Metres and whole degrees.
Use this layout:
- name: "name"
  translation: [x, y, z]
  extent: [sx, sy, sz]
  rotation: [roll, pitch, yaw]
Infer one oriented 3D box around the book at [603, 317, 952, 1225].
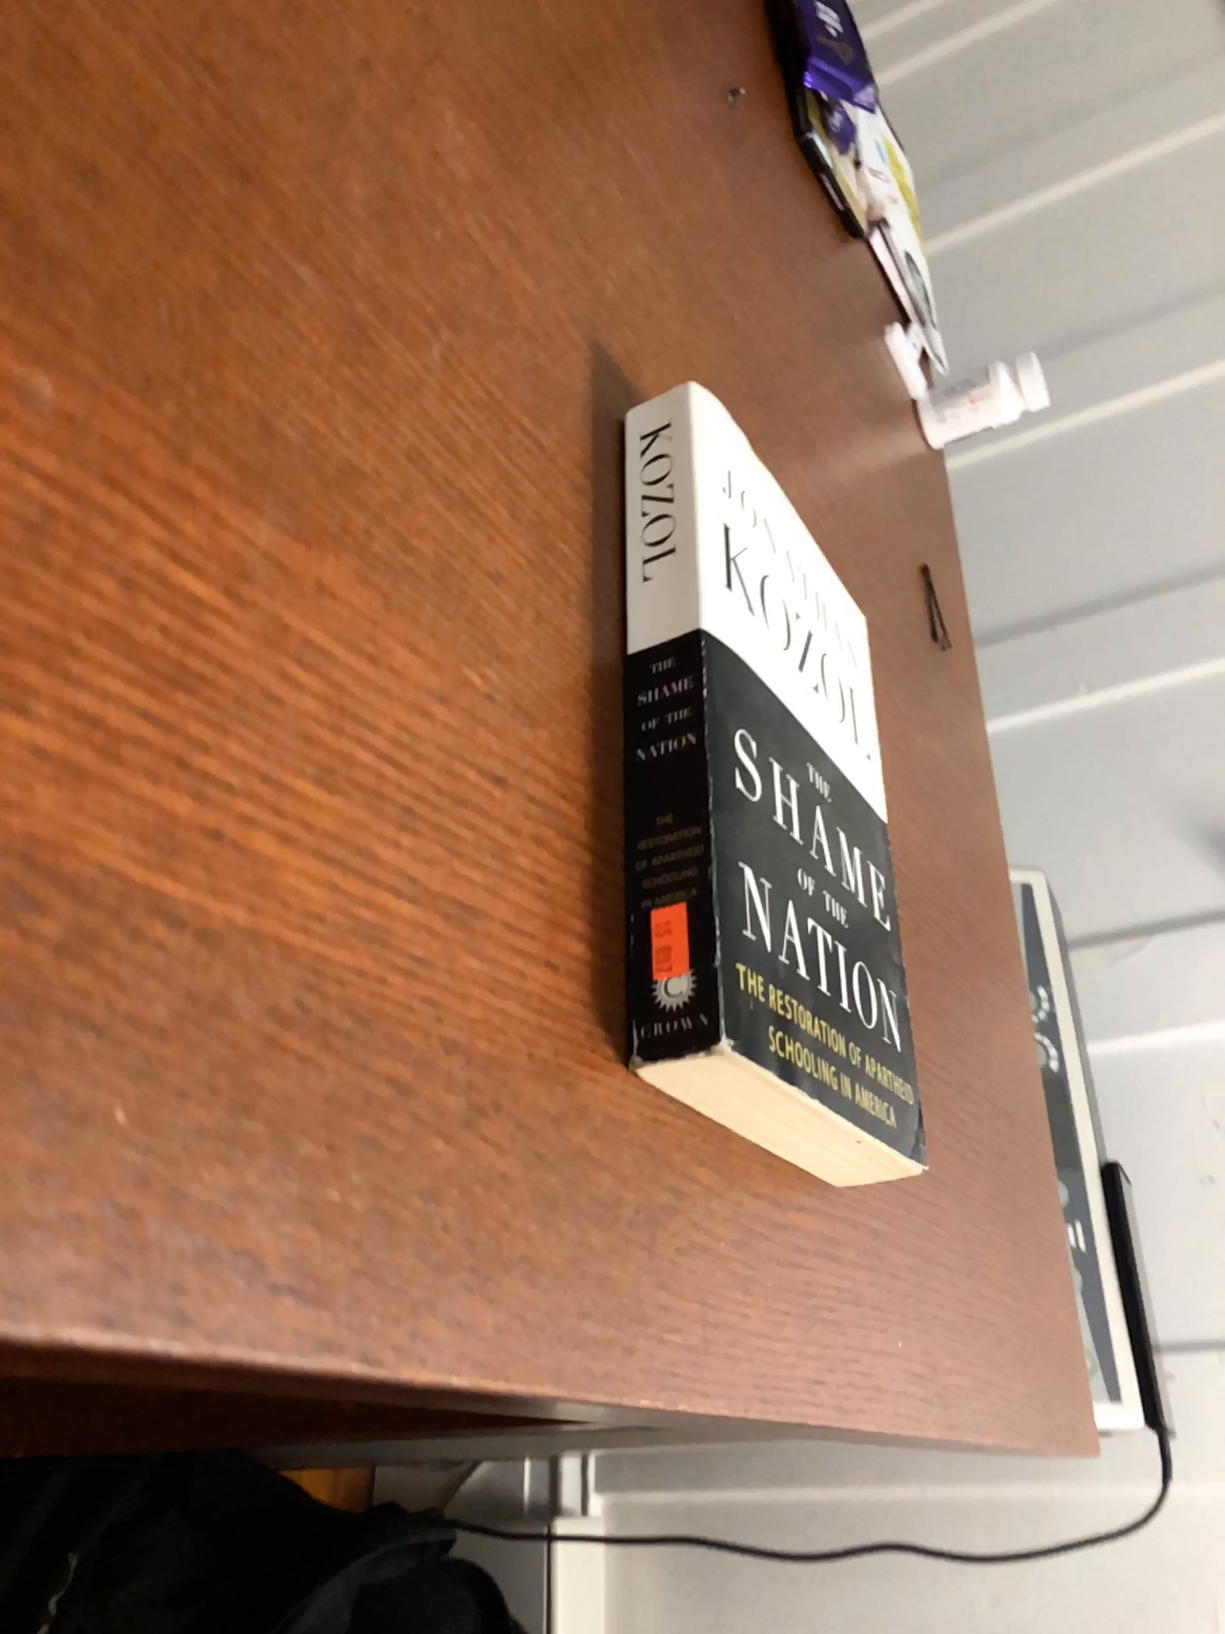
- name: "book"
  translation: [0.051, -0.010, 0.411]
  extent: [0.160, 0.030, 0.230]
  rotation: [40, 43, -50]
